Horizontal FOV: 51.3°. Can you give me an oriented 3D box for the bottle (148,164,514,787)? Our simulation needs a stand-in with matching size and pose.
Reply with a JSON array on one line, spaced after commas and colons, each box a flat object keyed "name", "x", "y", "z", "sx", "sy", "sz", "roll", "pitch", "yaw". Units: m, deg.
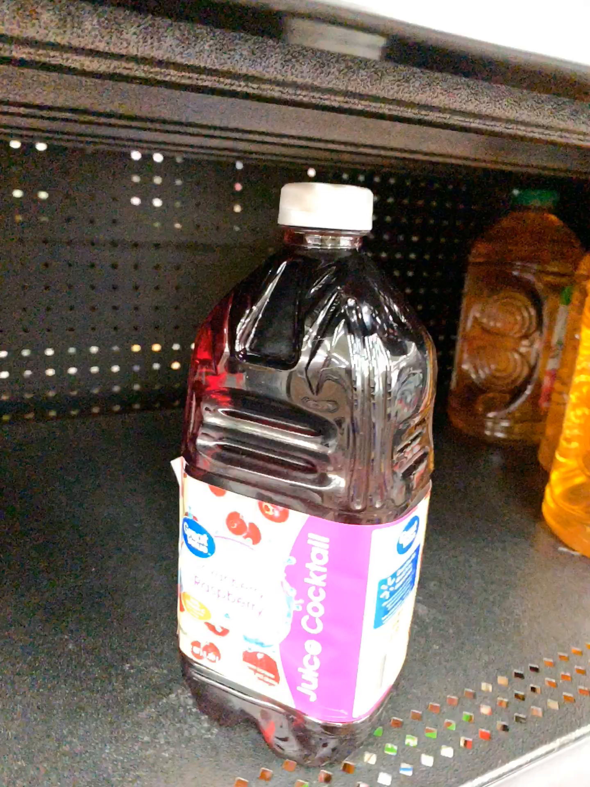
[{"name": "bottle", "x": 0.011, "y": 0.033, "z": 0.299, "sx": 0.125, "sy": 0.259, "sz": 0.100, "roll": 13, "pitch": 20, "yaw": 25}]
